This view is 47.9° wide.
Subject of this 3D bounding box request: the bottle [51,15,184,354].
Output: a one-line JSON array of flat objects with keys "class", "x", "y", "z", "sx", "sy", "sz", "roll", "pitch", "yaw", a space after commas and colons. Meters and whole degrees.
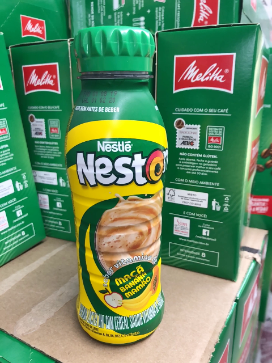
[{"class": "bottle", "x": -0.011, "y": 0.004, "z": 0.189, "sx": 0.060, "sy": 0.179, "sz": 0.060, "roll": -1, "pitch": 15, "yaw": 0}]
